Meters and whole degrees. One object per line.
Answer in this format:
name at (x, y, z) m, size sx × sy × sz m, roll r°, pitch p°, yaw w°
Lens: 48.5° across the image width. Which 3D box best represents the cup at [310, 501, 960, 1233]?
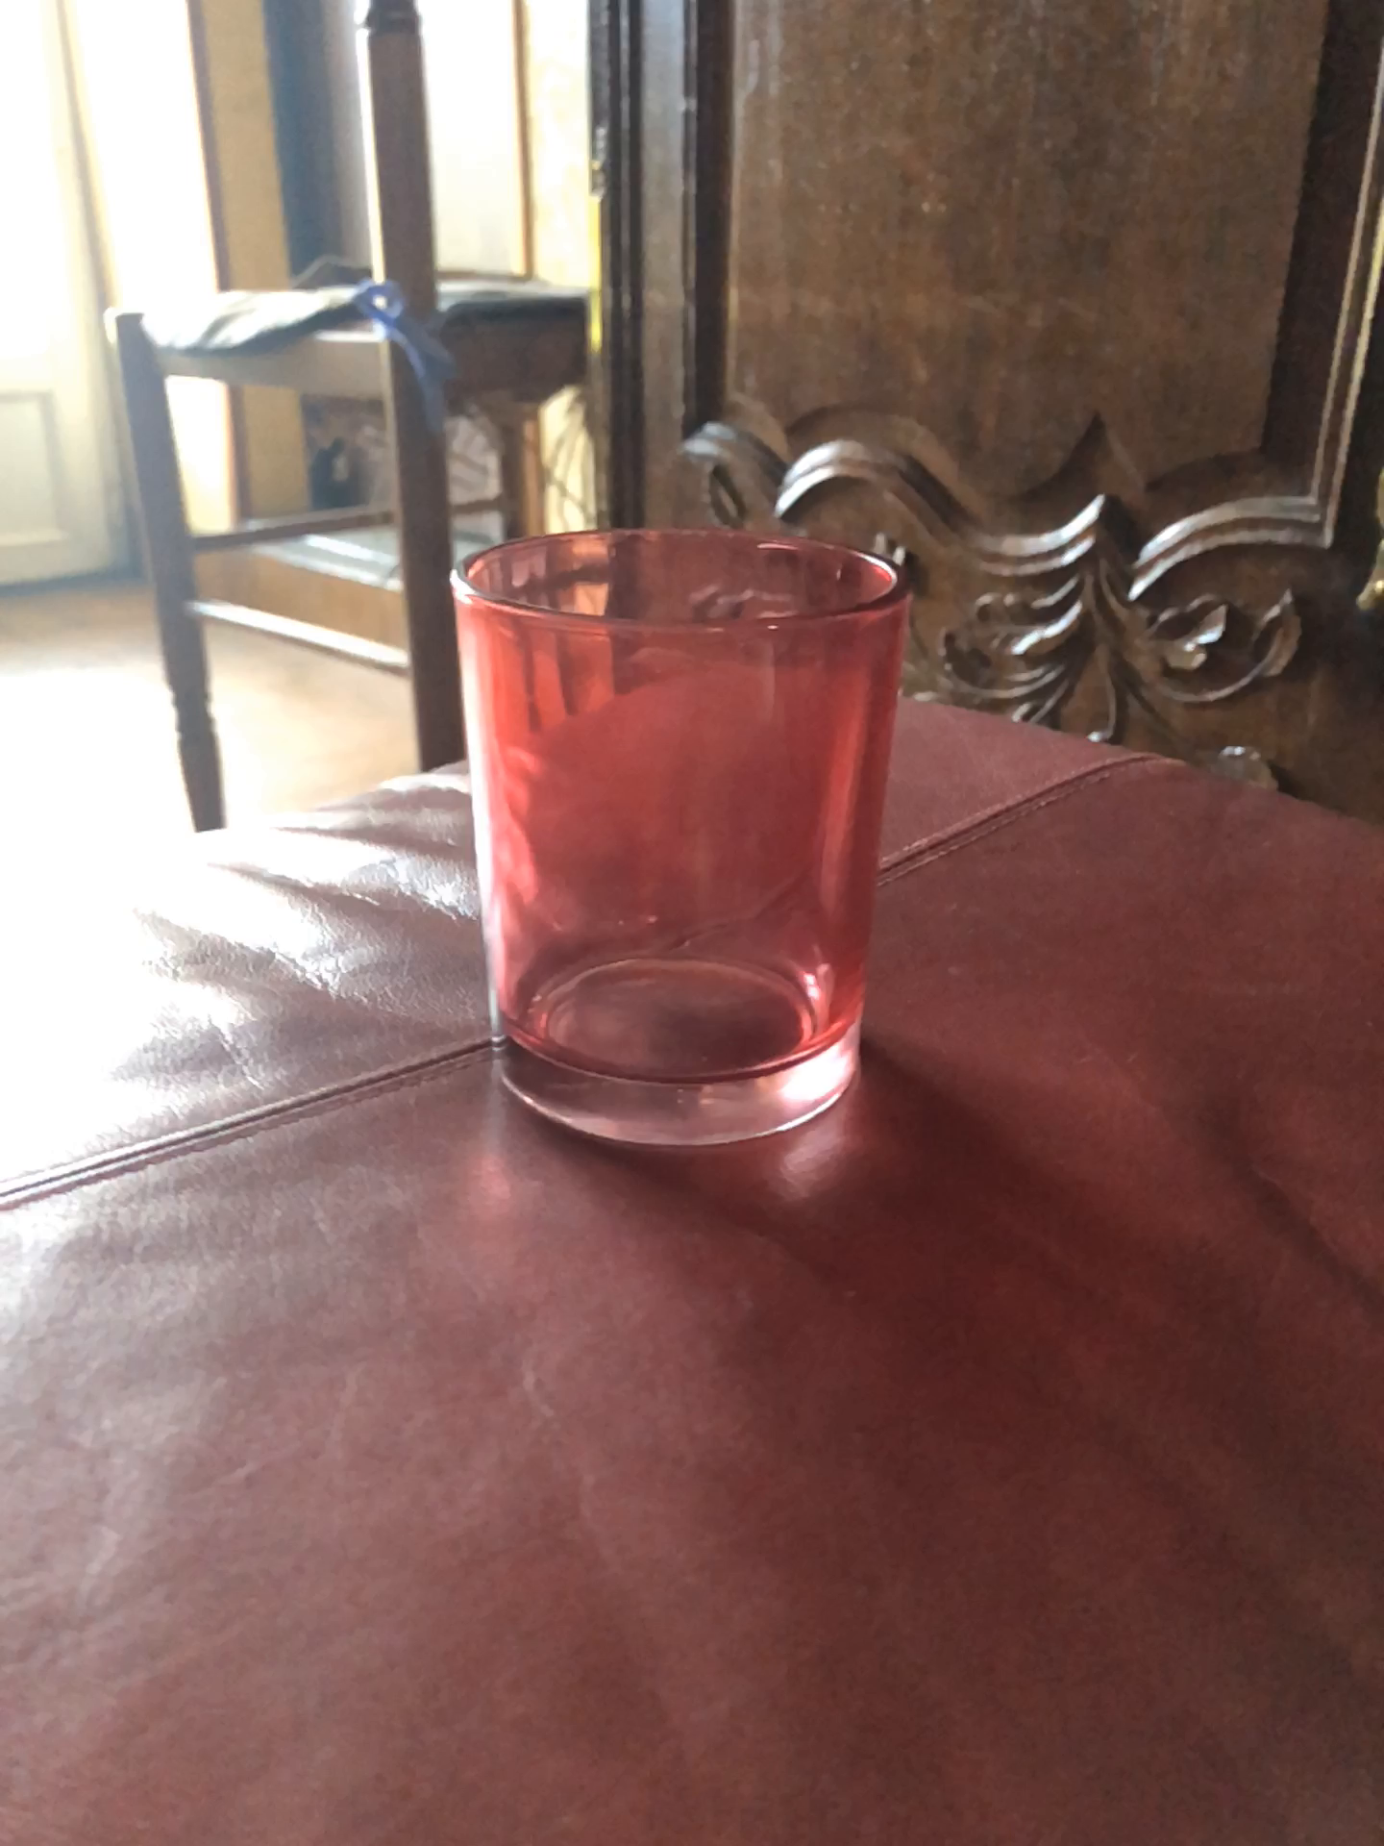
cup at (-0.007, -0.016, 0.251) m, size 0.070 × 0.090 × 0.070 m, roll 0°, pitch 23°, yaw 0°
